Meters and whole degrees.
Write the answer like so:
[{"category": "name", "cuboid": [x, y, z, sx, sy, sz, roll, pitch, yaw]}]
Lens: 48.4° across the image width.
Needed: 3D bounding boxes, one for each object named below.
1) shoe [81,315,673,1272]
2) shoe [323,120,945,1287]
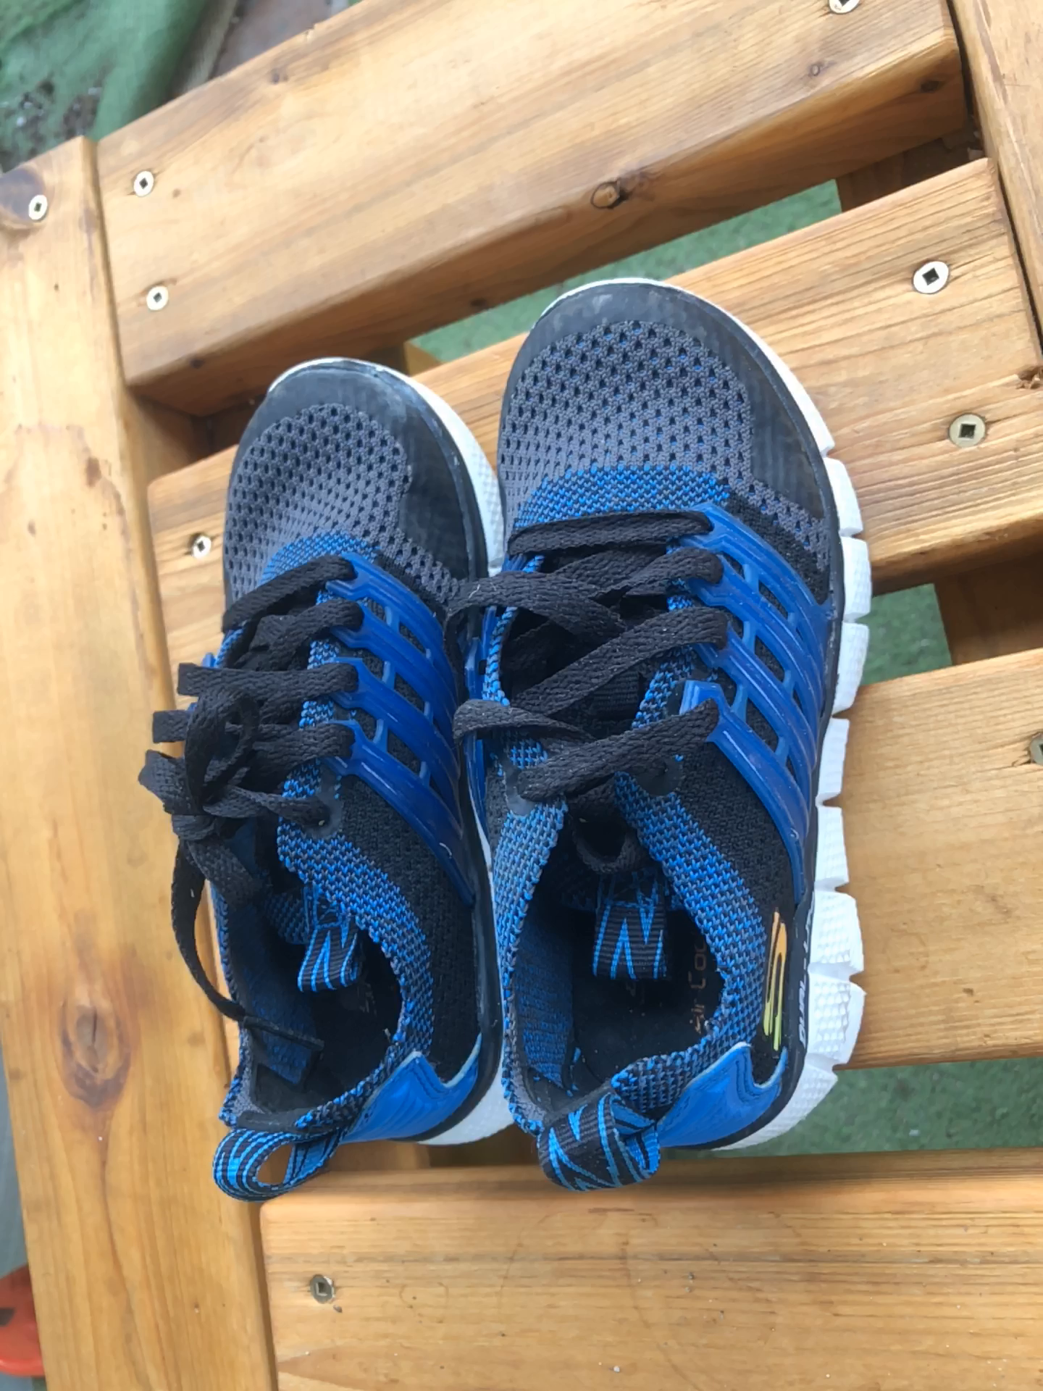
[{"category": "shoe", "cuboid": [-0.034, 0.025, 0.302, 0.080, 0.100, 0.200, -14, 82, 24]}, {"category": "shoe", "cuboid": [0.029, 0.004, 0.249, 0.080, 0.100, 0.190, -10, 84, 25]}]
